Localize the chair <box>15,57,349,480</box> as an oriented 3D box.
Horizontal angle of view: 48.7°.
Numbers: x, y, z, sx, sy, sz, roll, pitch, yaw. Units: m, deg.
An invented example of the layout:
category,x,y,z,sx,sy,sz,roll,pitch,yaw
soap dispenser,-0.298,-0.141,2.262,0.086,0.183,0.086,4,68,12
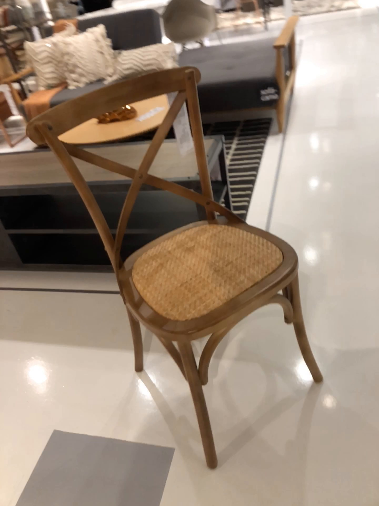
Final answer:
category,x,y,z,sx,sy,sz,roll,pitch,yaw
chair,0.016,0.010,1.142,0.501,0.863,0.573,-29,38,-22
